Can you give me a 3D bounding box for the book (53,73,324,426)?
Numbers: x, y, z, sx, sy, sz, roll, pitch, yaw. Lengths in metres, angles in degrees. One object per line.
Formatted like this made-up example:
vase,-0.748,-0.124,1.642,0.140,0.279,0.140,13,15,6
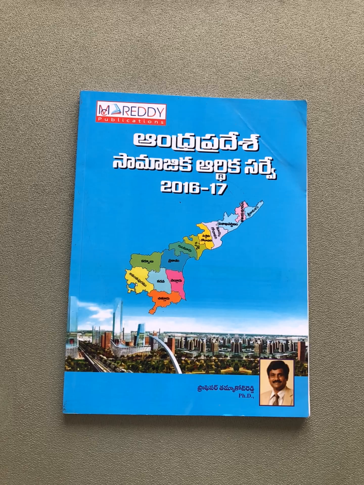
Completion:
book,0.009,0.003,0.290,0.180,0.020,0.240,2,84,-3
